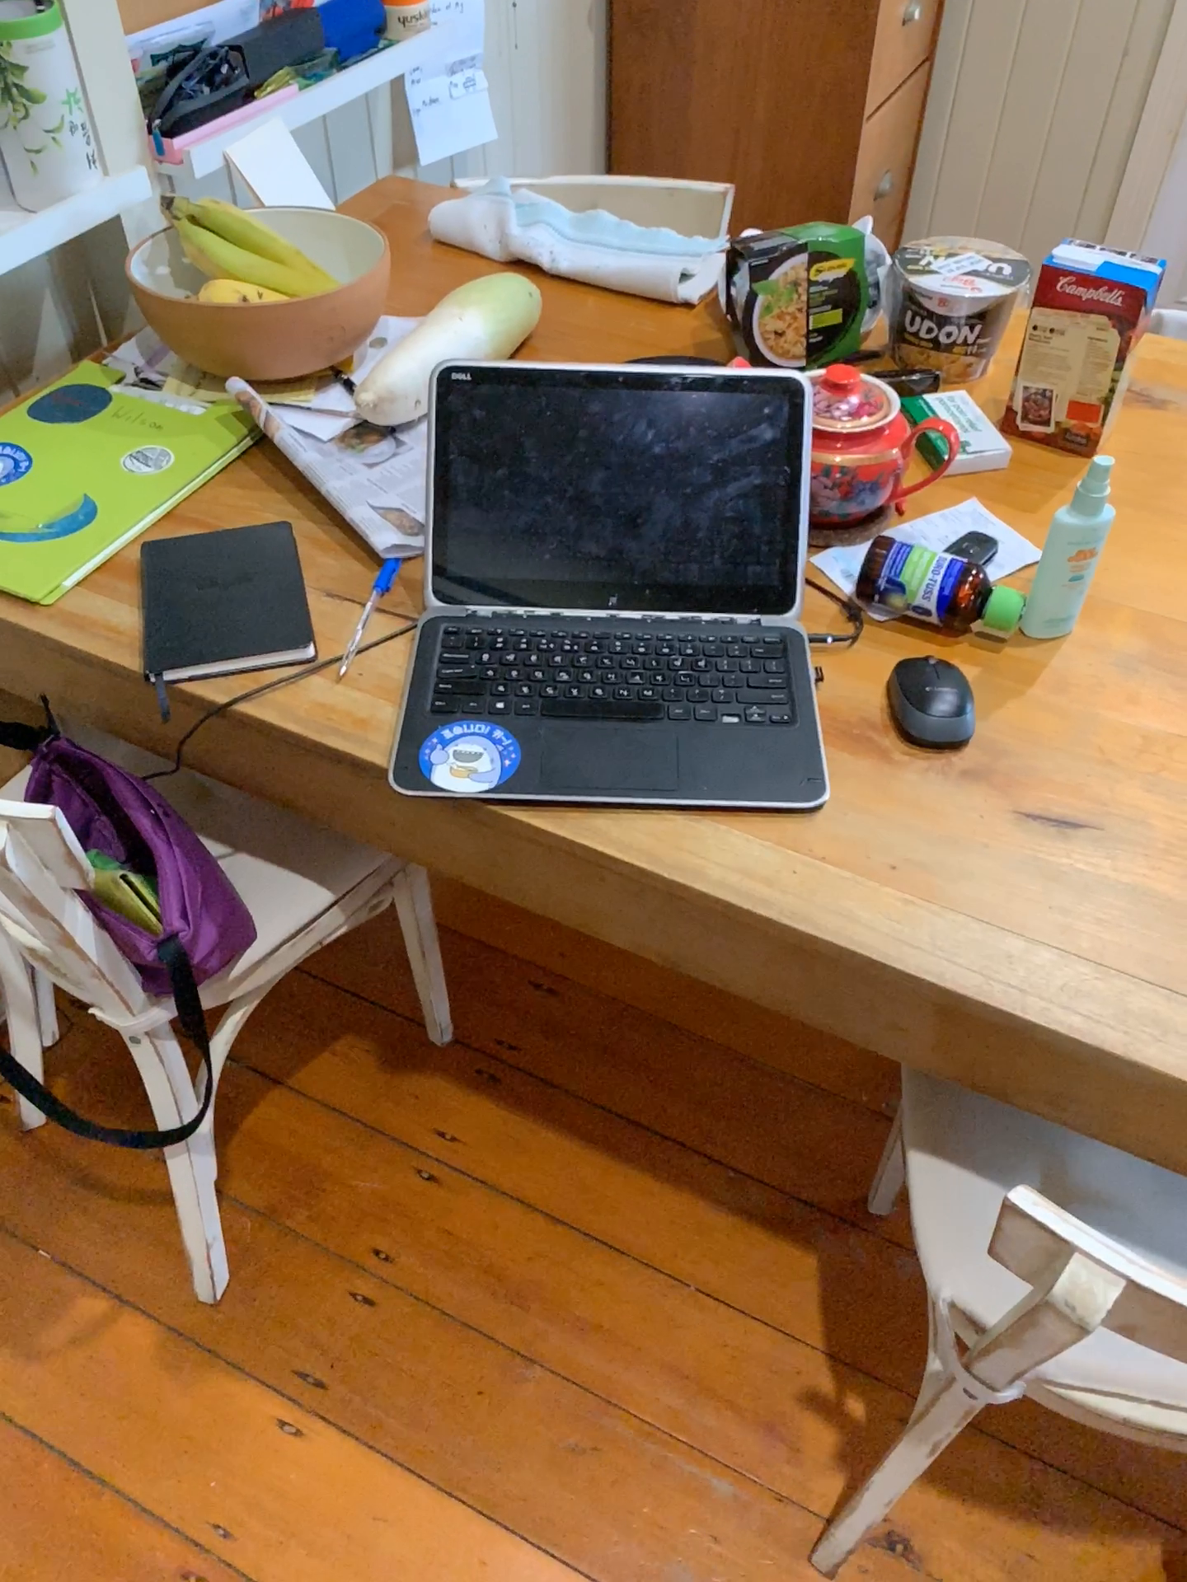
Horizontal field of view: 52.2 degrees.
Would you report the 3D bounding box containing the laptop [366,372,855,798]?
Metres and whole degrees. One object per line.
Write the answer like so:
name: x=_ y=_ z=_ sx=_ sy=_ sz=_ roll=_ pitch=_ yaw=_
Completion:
laptop: x=0.016 y=-0.168 z=0.918 sx=0.303 sy=0.139 sz=0.341 roll=1 pitch=46 yaw=1
